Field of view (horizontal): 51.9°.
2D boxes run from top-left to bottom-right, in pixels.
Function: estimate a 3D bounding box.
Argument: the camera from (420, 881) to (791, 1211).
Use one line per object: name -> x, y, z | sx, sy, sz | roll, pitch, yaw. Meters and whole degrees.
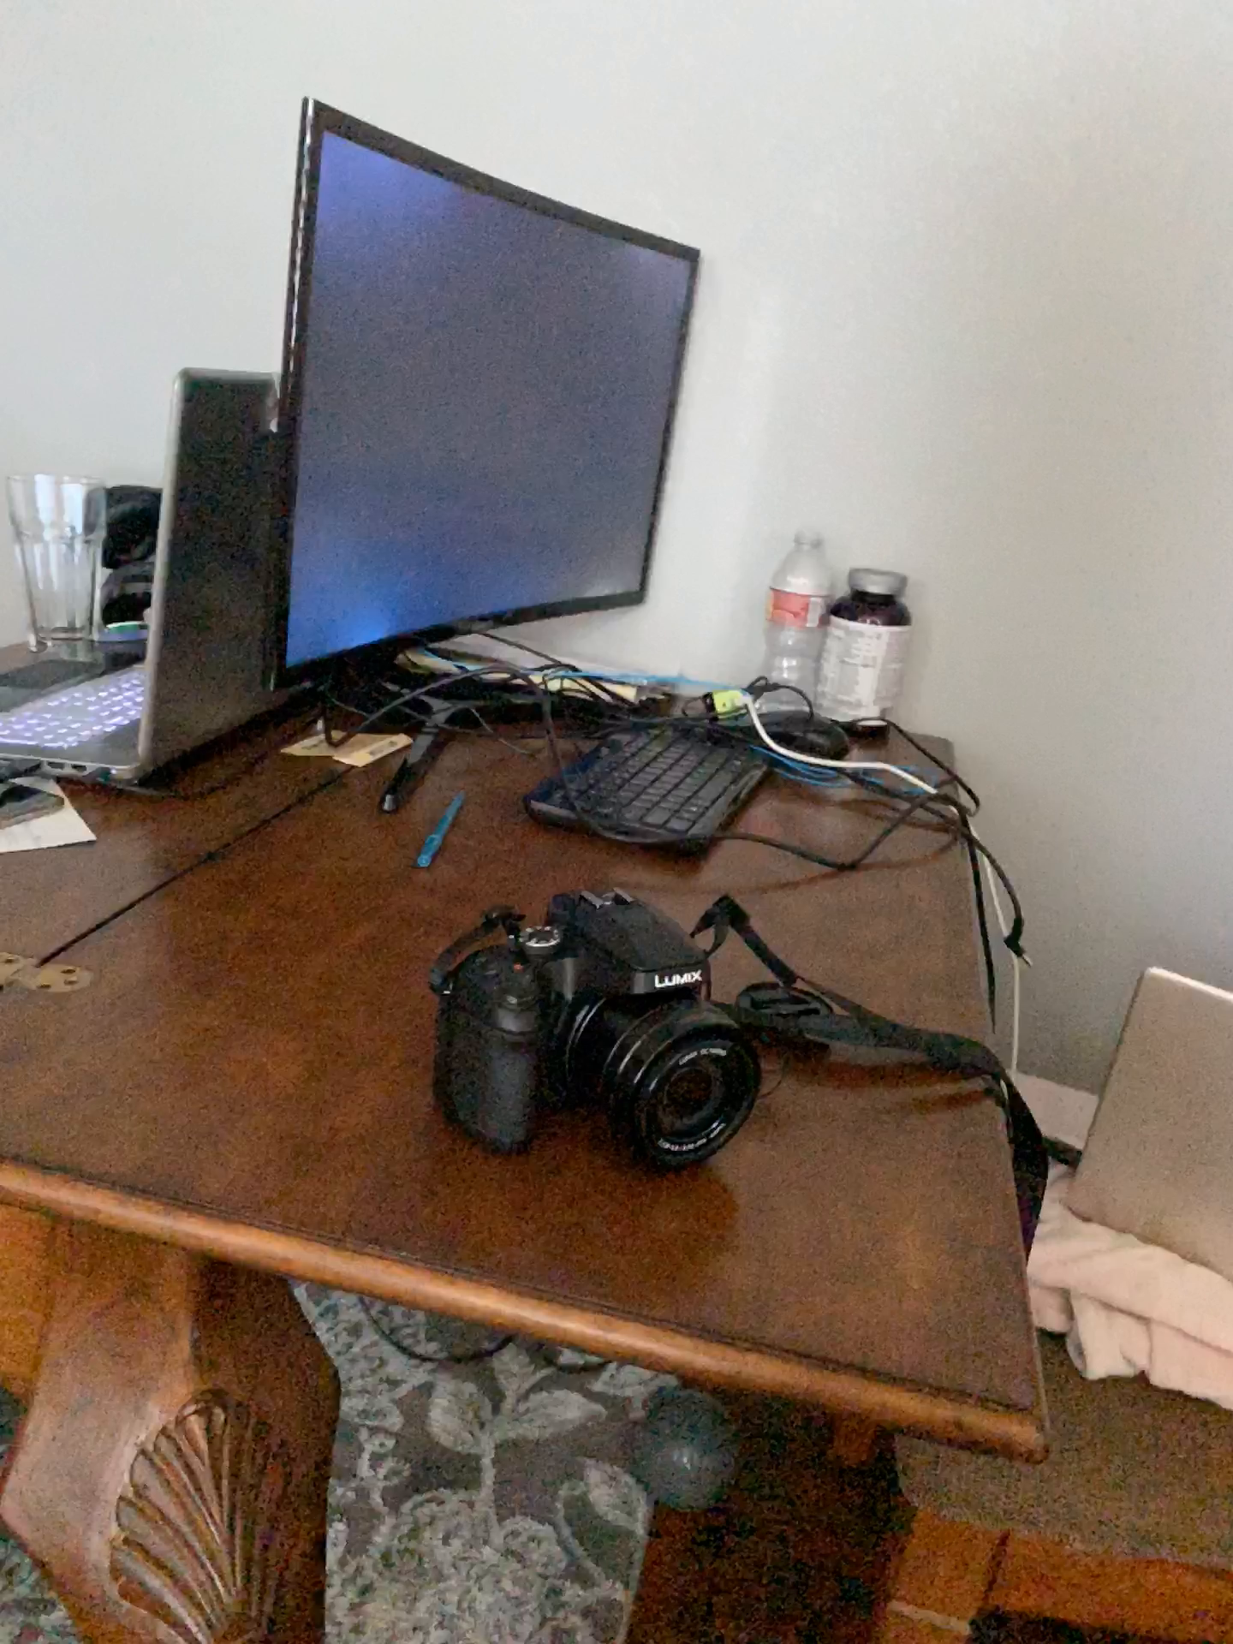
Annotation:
camera -> -0.008, 0.098, 0.599 | 0.130, 0.089, 0.110 | -7, 22, -32
